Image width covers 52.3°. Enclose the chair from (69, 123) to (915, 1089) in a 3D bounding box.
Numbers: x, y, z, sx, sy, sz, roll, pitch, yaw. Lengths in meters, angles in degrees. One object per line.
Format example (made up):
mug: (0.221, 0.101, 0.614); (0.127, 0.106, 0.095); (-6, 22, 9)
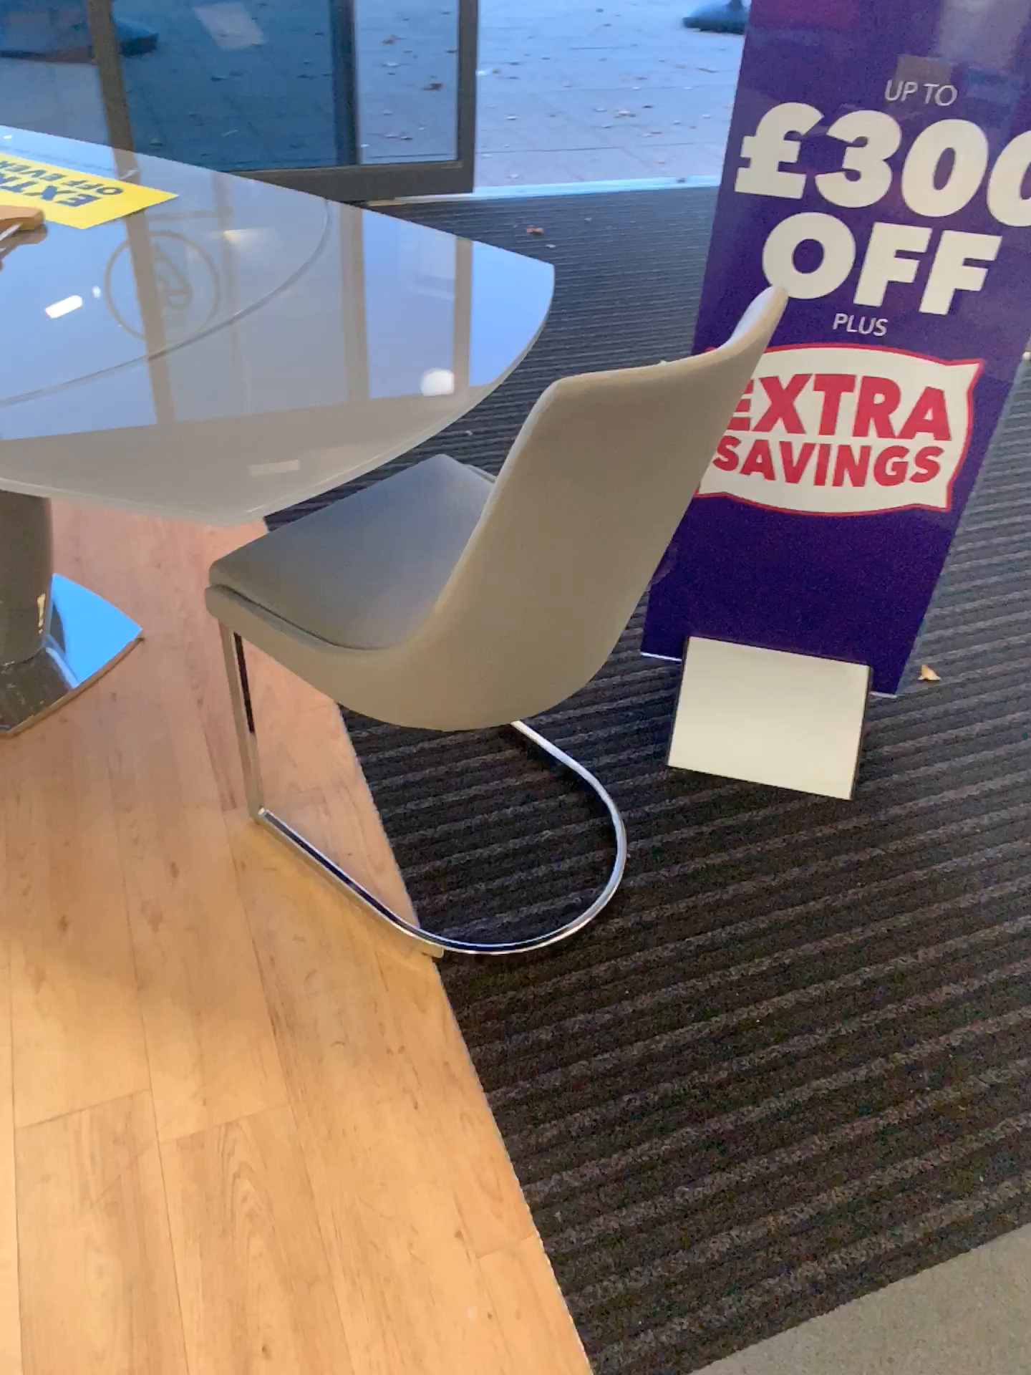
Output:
chair: (-0.055, -0.121, 1.352); (0.683, 0.901, 0.533); (33, 48, 30)
